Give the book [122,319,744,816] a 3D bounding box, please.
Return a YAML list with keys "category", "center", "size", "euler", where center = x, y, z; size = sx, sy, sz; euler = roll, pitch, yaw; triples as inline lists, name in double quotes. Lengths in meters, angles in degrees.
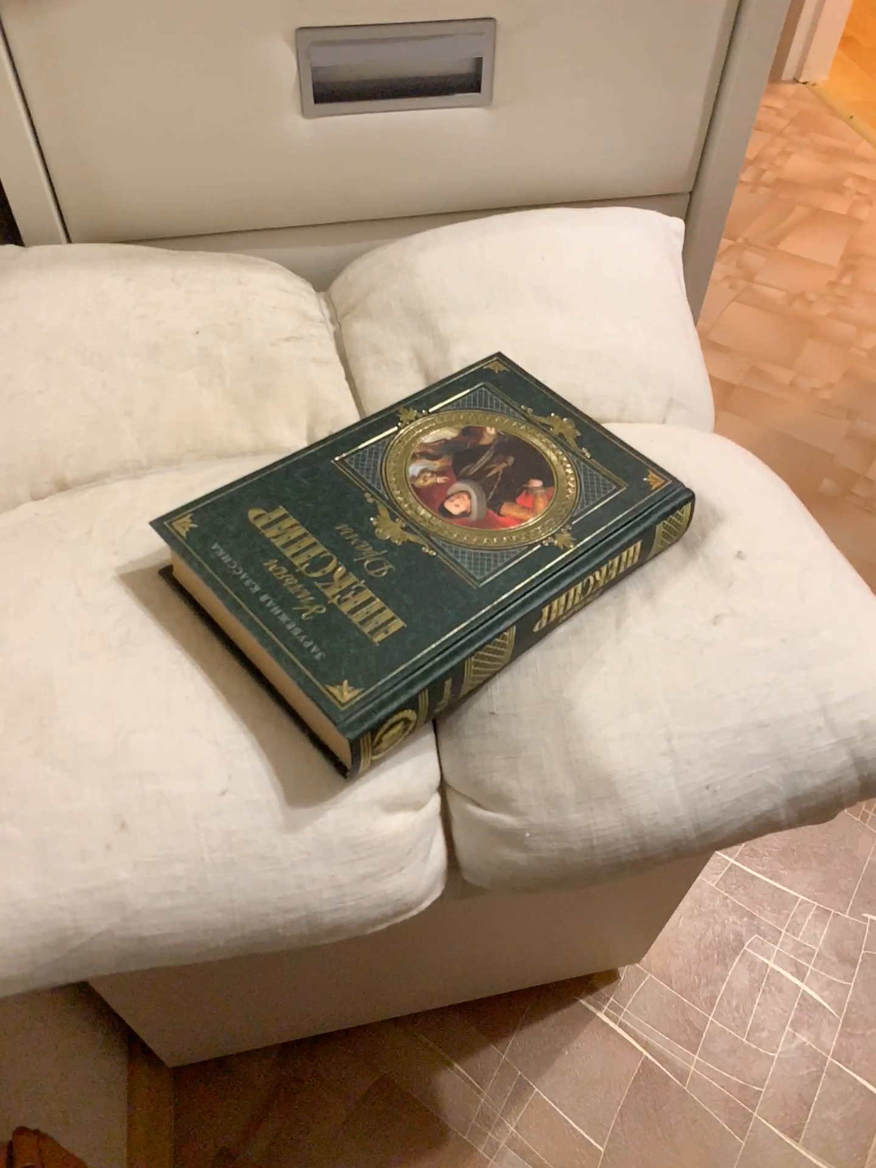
- category: "book"
  center: [0.004, -0.027, 0.393]
  size: [0.221, 0.040, 0.151]
  euler: [-33, 60, -30]
